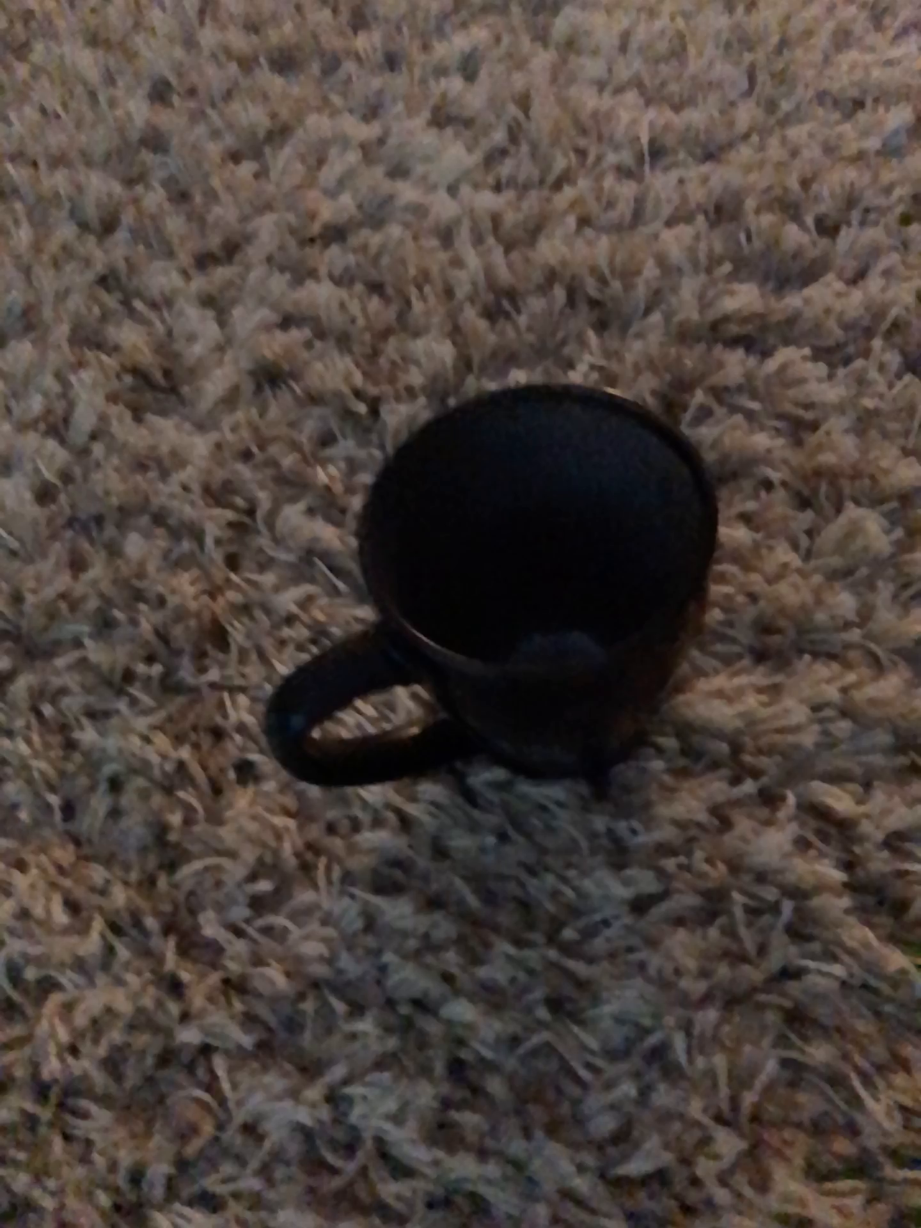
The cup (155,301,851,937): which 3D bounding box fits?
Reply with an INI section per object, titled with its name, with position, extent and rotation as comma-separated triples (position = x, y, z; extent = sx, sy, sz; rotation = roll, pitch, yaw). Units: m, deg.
[cup]
position = 0.011, 0.002, 0.278
extent = 0.140, 0.089, 0.090
rotation = -26, 57, -9
